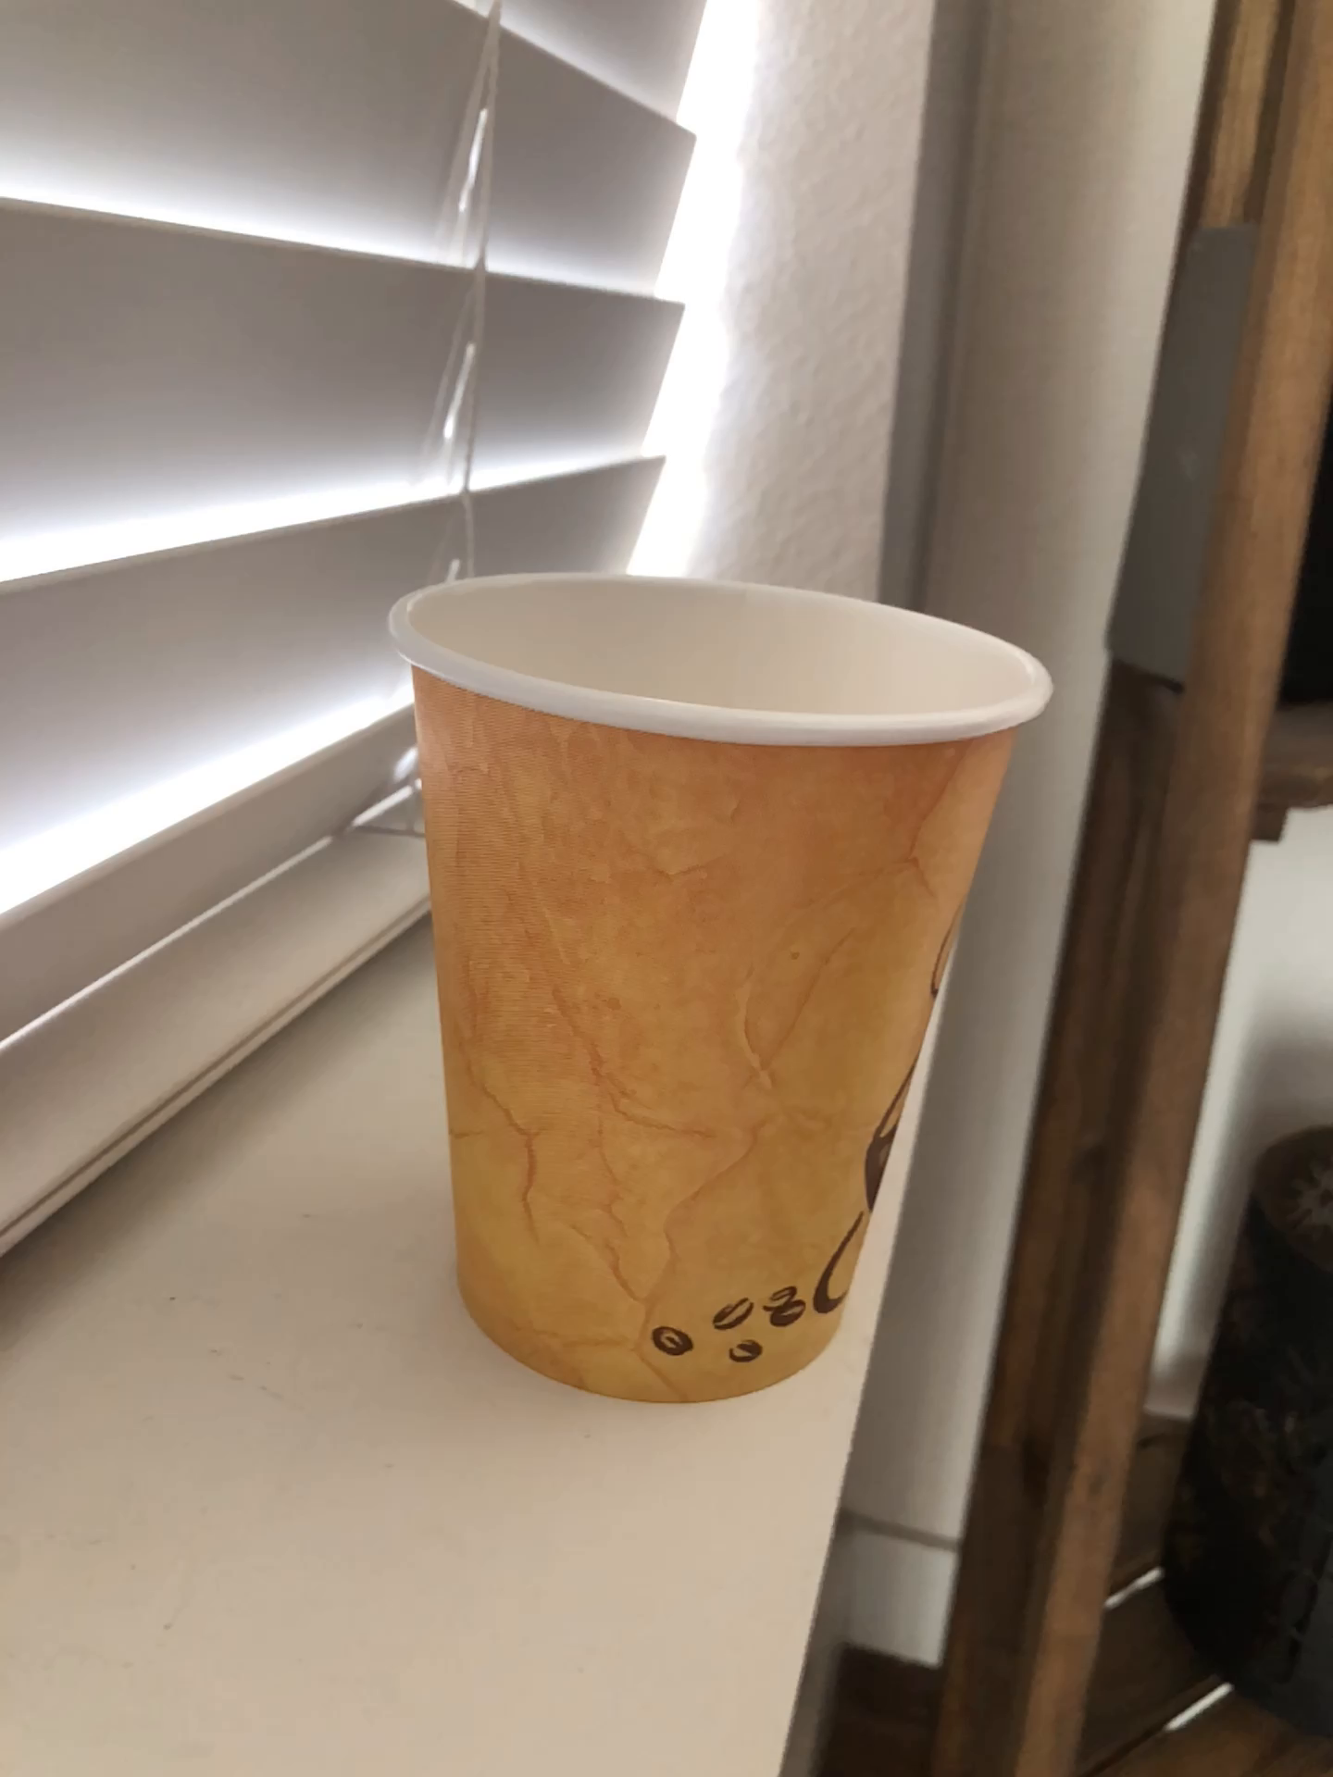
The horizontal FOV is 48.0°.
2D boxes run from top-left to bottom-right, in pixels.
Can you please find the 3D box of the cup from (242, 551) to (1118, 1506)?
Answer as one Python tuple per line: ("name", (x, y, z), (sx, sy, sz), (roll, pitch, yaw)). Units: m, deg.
("cup", (0.007, 0.007, 0.214), (0.093, 0.088, 0.096), (5, 20, -2))
